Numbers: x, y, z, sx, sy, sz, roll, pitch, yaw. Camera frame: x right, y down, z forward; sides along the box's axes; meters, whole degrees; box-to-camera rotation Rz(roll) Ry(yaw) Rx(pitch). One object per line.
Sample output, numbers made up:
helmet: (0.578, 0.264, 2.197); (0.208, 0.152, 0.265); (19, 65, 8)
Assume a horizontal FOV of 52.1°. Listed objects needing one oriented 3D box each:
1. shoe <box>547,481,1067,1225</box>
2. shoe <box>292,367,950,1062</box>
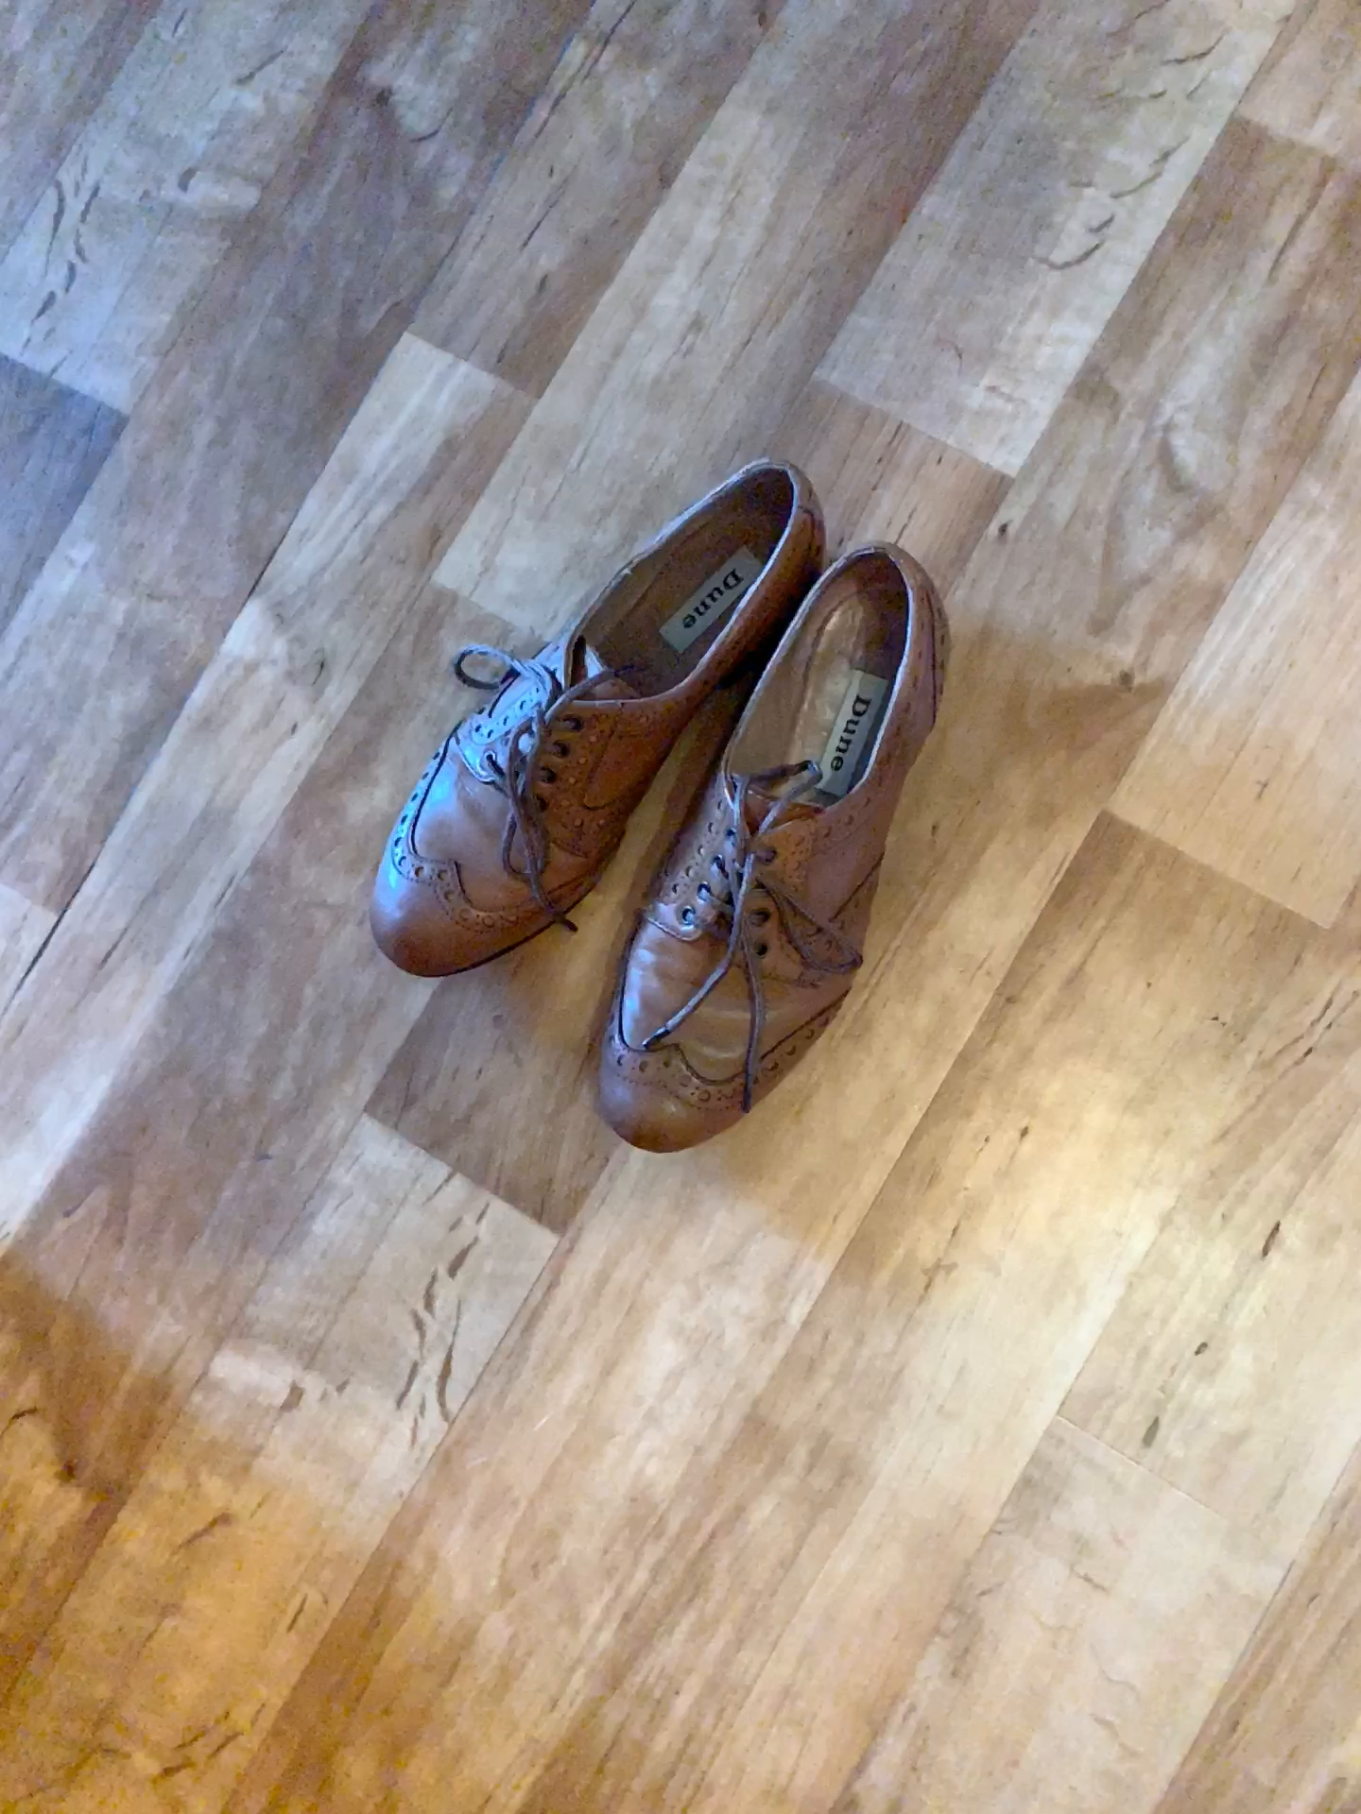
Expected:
shoe: (0.048, -0.013, 0.506); (0.080, 0.120, 0.230); (24, 86, 9)
shoe: (-0.015, -0.062, 0.536); (0.090, 0.120, 0.240); (41, 89, 10)
